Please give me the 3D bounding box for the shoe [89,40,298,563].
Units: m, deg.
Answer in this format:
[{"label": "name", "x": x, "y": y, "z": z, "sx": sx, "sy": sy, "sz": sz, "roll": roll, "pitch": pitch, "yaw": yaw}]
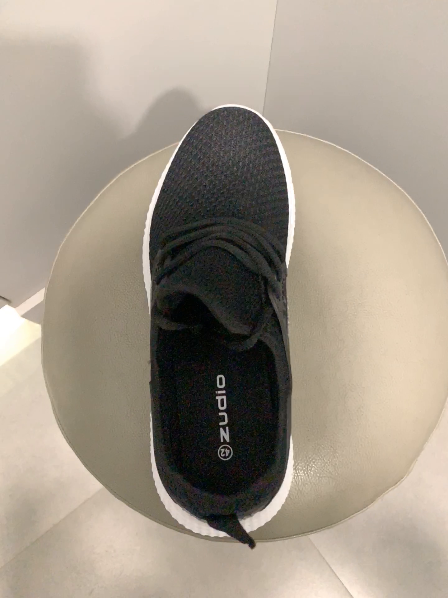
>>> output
[{"label": "shoe", "x": -0.009, "y": -0.005, "z": 0.305, "sx": 0.100, "sy": 0.110, "sz": 0.290, "roll": 2, "pitch": 78, "yaw": 1}]
